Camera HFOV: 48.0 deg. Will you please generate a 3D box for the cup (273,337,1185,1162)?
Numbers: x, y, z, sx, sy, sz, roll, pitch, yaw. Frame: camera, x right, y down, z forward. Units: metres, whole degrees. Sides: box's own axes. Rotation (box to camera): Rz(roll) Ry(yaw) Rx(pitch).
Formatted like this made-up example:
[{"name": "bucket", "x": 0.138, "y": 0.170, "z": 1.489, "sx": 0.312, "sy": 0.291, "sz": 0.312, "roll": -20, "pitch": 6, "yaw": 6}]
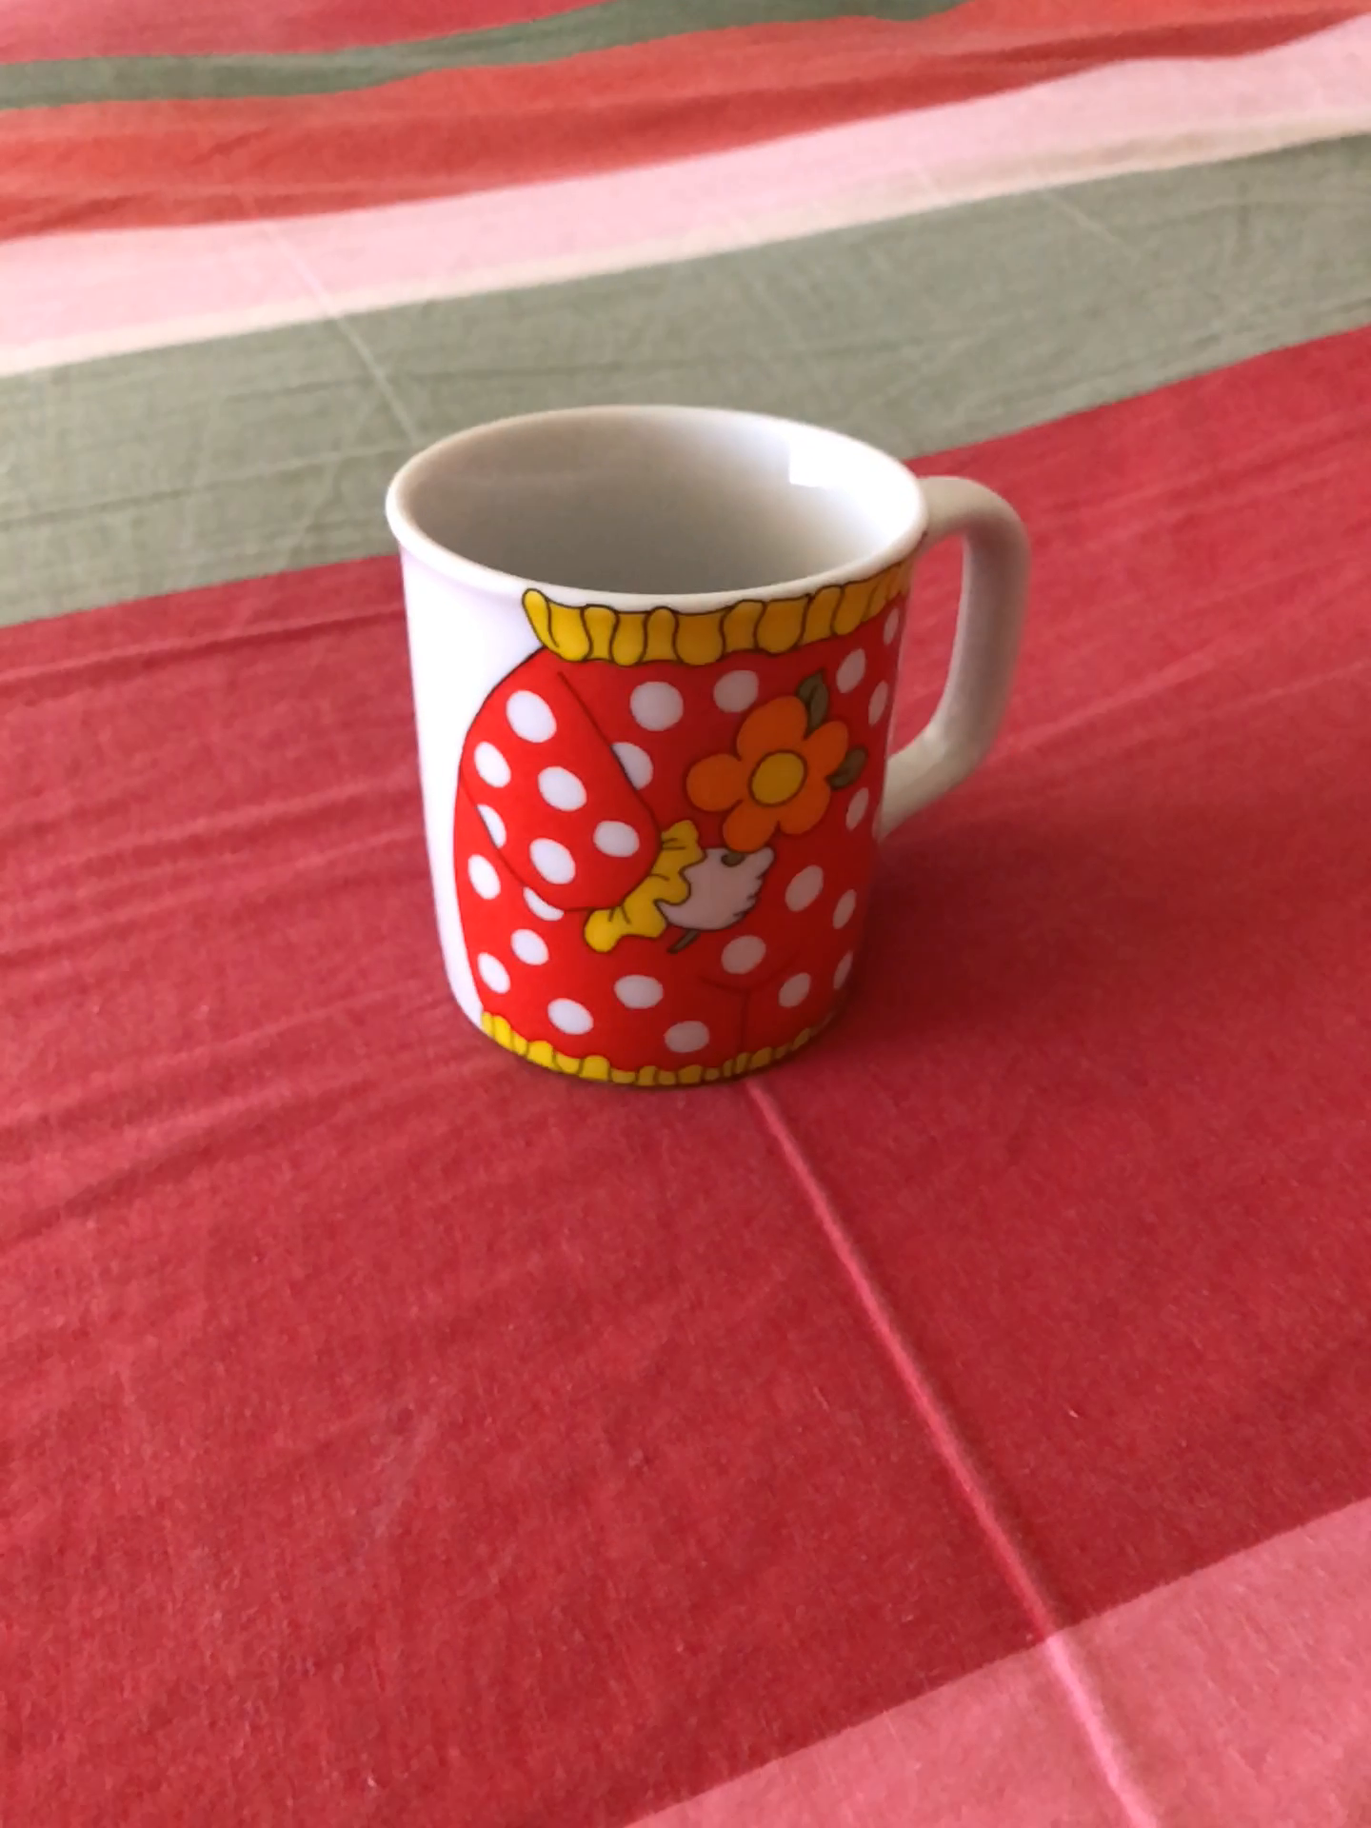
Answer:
[{"name": "cup", "x": 0.006, "y": -0.038, "z": 0.271, "sx": 0.116, "sy": 0.086, "sz": 0.089, "roll": -23, "pitch": 43, "yaw": -31}]
